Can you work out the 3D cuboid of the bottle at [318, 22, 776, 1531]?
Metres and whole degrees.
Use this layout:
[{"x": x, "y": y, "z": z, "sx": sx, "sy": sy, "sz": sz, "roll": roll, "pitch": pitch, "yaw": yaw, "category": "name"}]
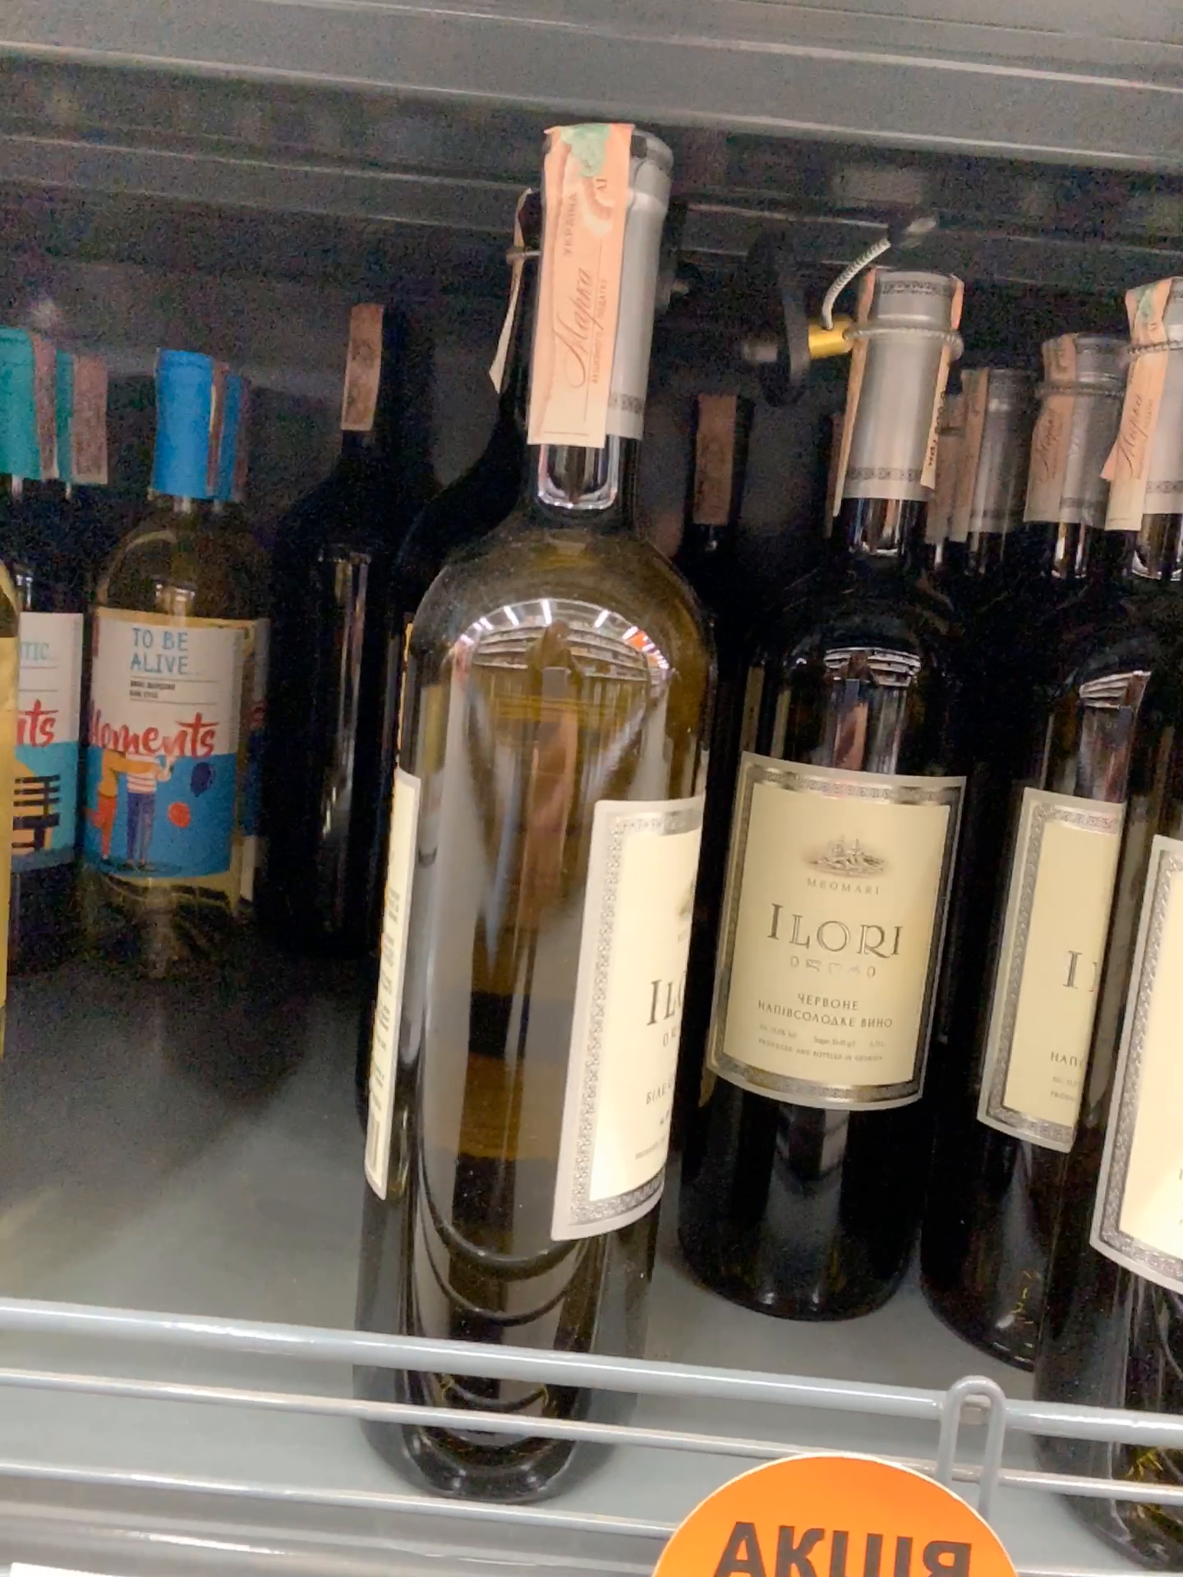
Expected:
[{"x": -0.011, "y": 0.006, "z": 0.295, "sx": 0.069, "sy": 0.319, "sz": 0.070, "roll": 6, "pitch": 10, "yaw": -1, "category": "bottle"}]
